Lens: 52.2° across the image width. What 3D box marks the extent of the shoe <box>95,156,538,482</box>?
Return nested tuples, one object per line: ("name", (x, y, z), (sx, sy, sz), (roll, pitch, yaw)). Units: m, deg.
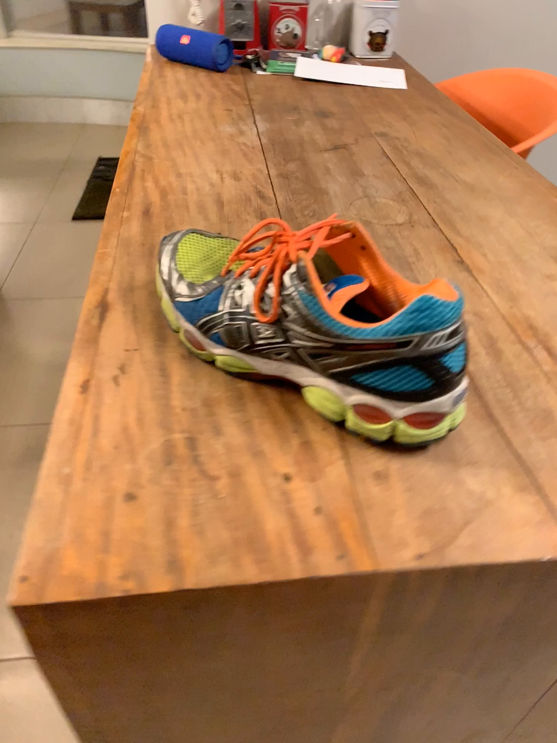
("shoe", (0.016, -0.061, 0.446), (0.301, 0.109, 0.125), (27, 46, 26))
